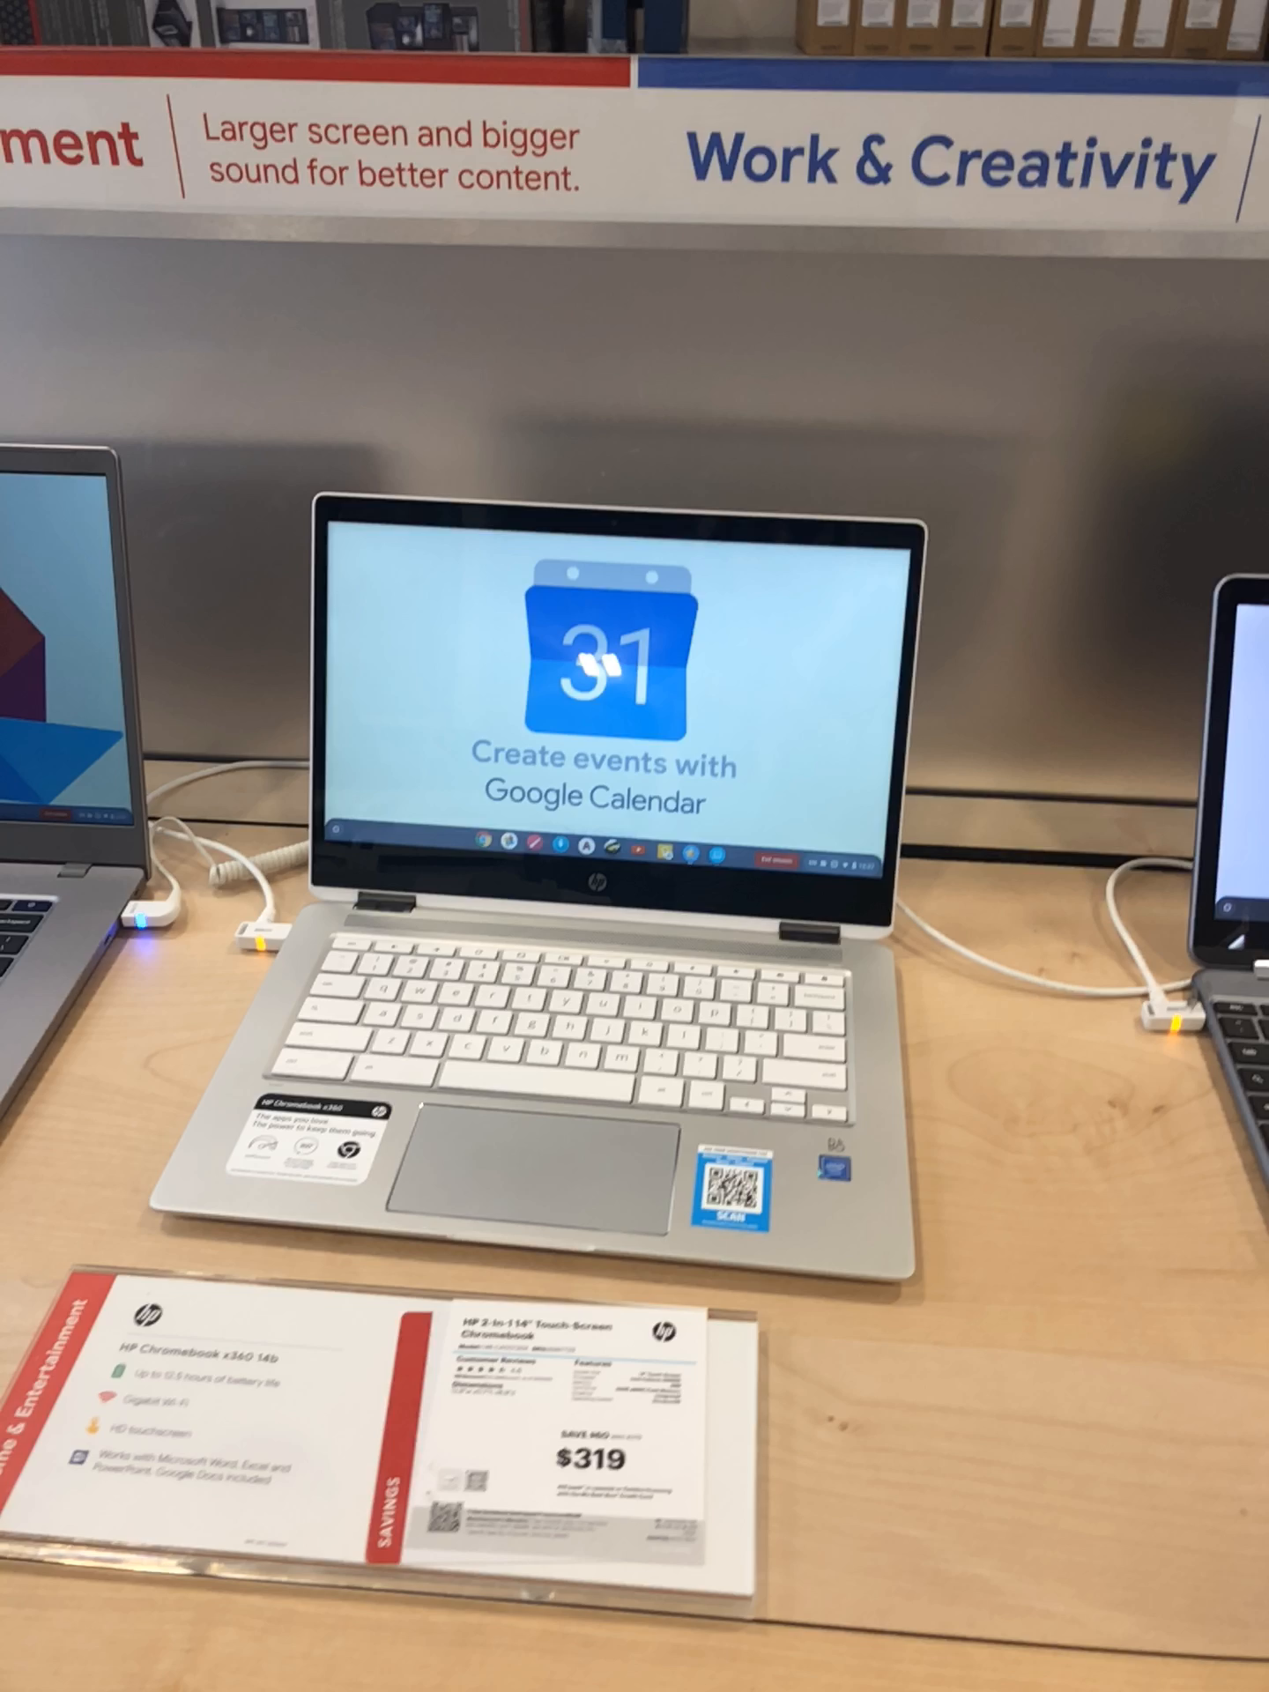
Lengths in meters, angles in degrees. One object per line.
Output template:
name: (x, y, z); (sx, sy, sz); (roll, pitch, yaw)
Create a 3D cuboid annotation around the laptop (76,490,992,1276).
laptop: (-0.024, -0.006, 0.674); (0.323, 0.205, 0.320); (4, 35, 4)
